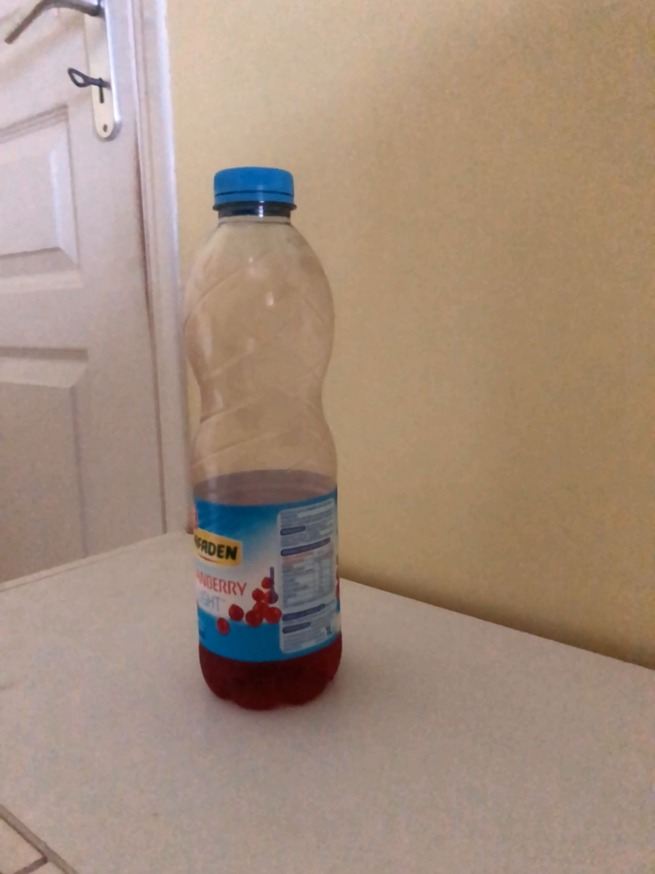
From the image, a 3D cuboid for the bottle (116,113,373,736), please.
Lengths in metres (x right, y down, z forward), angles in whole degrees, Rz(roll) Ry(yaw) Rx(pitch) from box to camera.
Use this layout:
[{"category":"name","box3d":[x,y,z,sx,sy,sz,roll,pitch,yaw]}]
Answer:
[{"category":"bottle","box3d":[-0.040,-0.006,0.368,0.090,0.269,0.080,7,12,44]}]
